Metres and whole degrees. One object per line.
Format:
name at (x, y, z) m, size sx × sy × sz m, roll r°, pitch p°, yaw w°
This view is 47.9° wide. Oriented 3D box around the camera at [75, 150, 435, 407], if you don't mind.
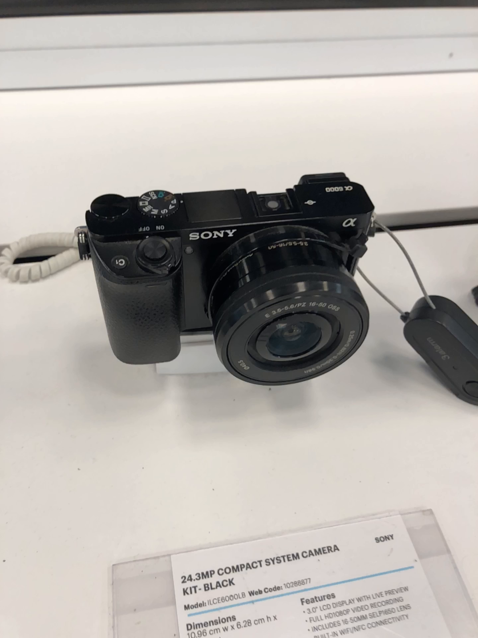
camera at (0.001, -0.020, 0.239) m, size 0.130 × 0.070 × 0.070 m, roll -8°, pitch 49°, yaw -10°
